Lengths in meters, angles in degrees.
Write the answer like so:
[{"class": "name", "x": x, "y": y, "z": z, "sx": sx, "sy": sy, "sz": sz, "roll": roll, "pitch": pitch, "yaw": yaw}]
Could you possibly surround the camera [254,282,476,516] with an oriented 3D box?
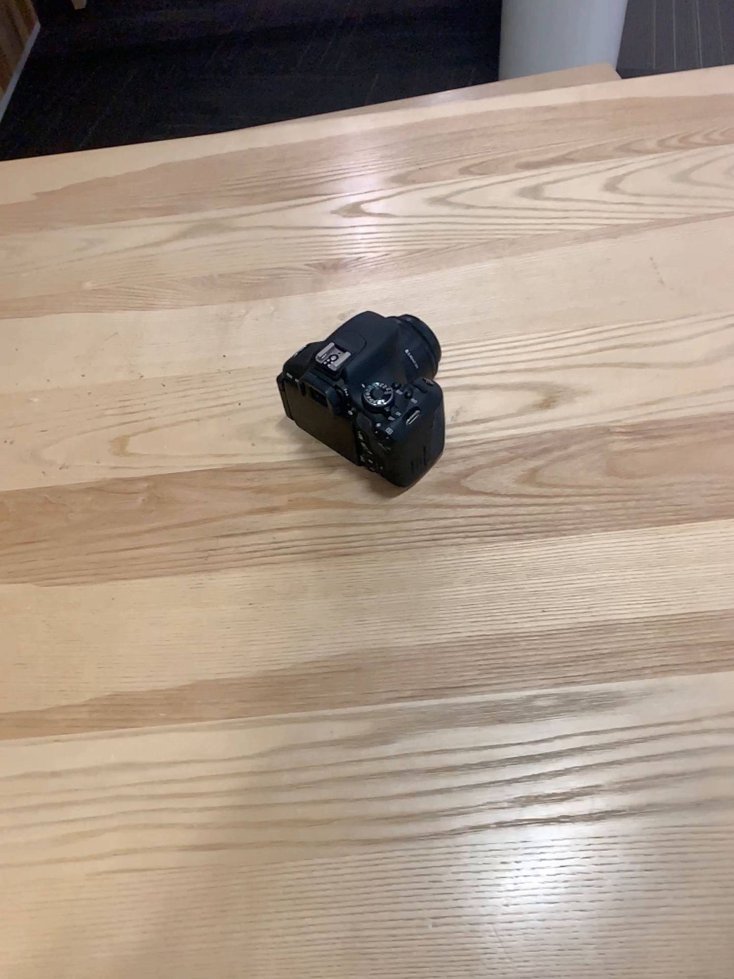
[{"class": "camera", "x": 0.002, "y": -0.073, "z": 0.590, "sx": 0.120, "sy": 0.094, "sz": 0.112, "roll": 33, "pitch": 64, "yaw": 26}]
